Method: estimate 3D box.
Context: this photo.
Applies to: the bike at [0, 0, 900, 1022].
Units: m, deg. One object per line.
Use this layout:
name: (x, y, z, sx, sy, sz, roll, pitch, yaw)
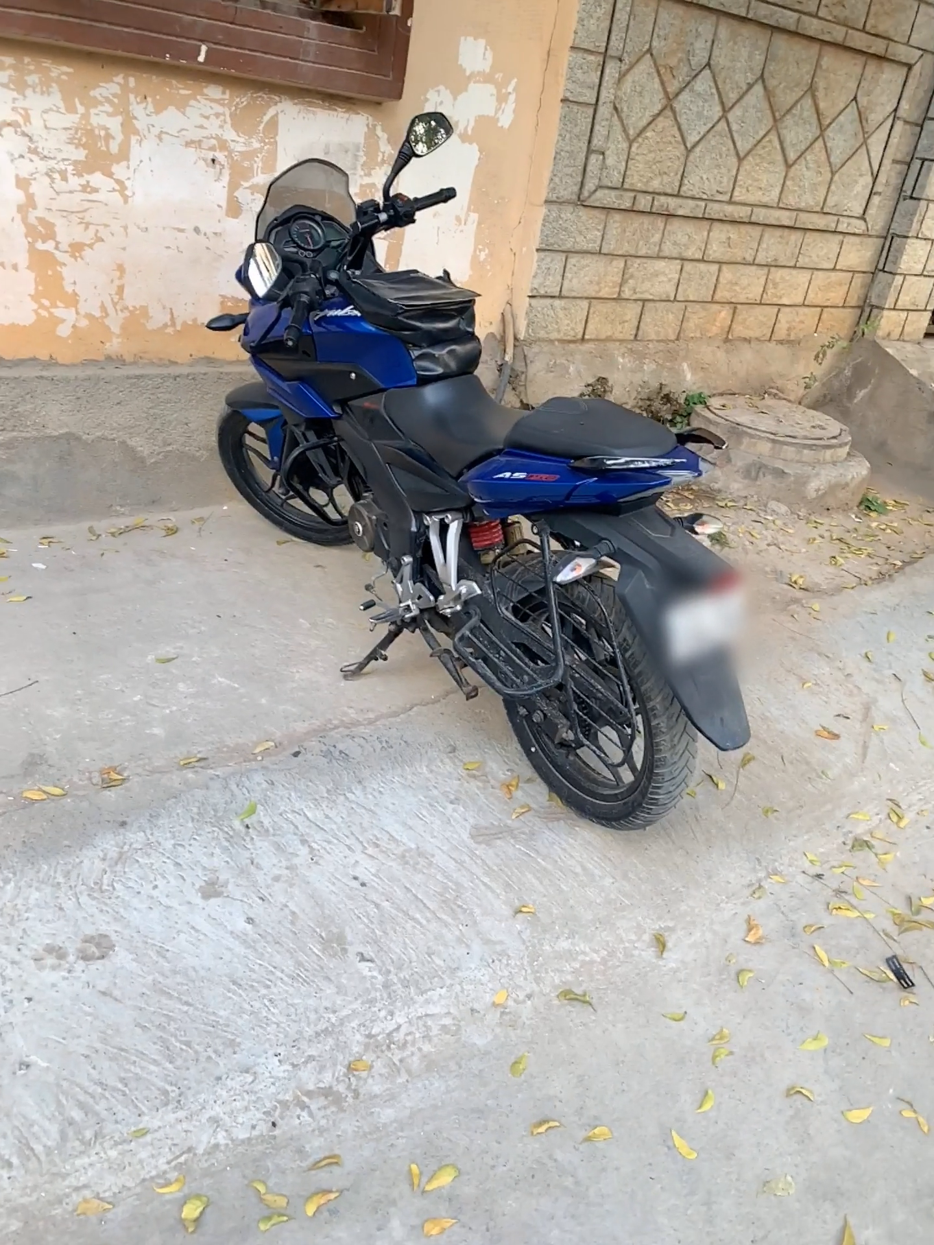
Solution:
bike: (-0.247, -0.387, 2.014, 0.955, 1.218, 1.570, -18, 45, -41)
